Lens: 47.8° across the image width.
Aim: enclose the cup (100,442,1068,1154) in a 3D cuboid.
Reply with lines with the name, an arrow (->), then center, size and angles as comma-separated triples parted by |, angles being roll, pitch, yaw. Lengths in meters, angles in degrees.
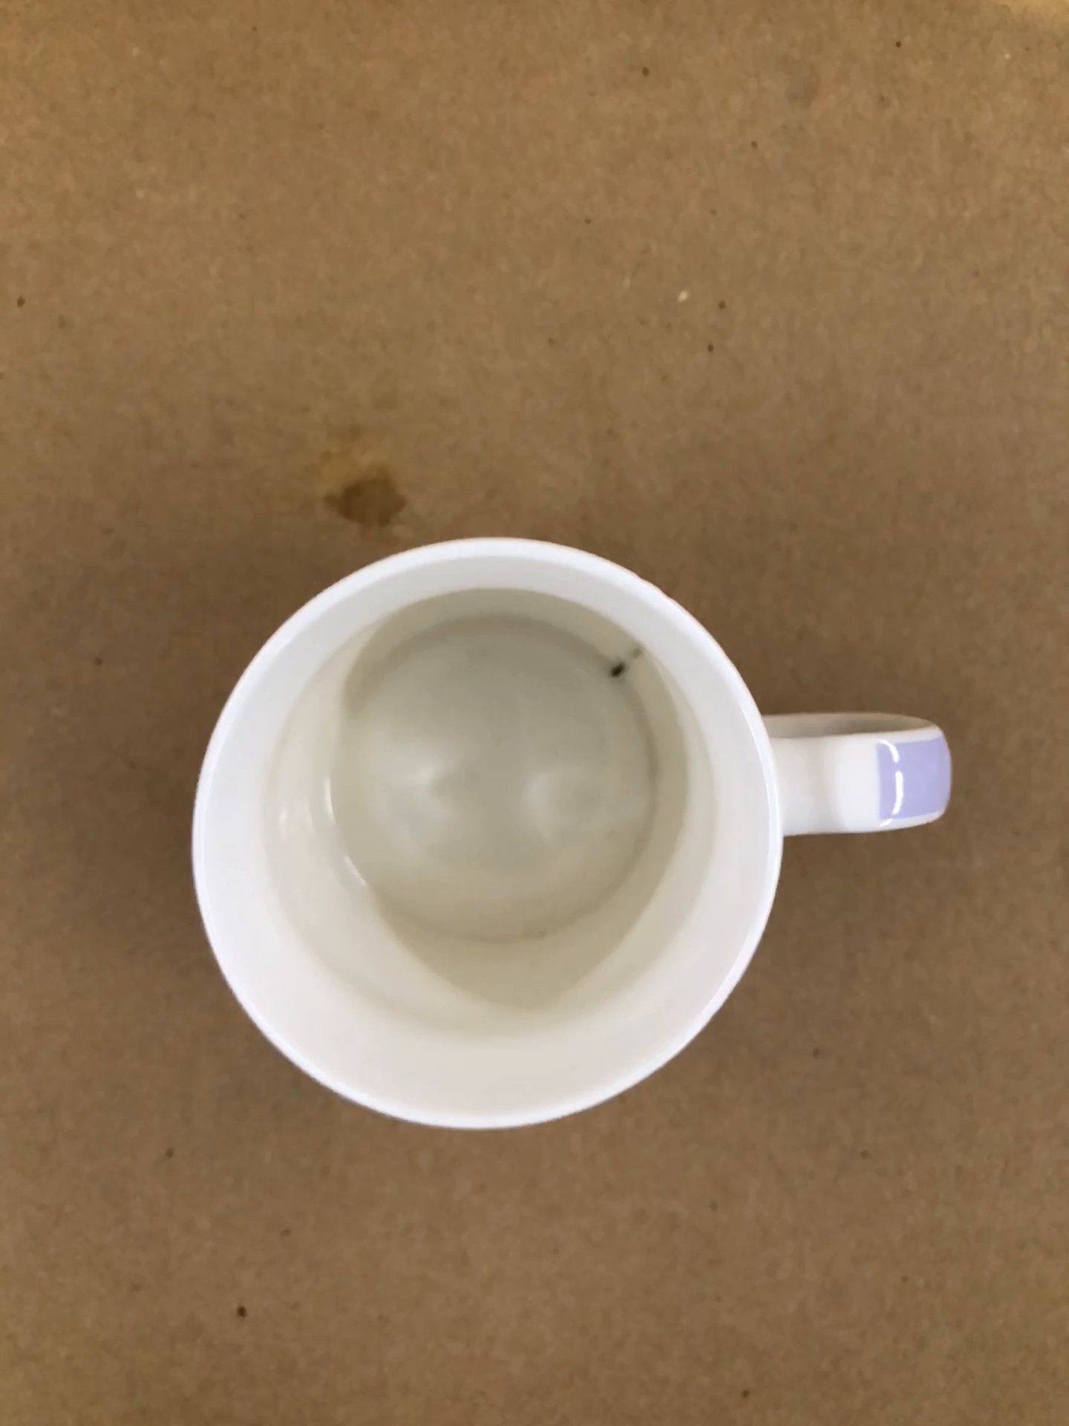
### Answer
cup -> 0.011, 0.010, 0.222 | 0.140, 0.090, 0.090 | -6, 93, -1
